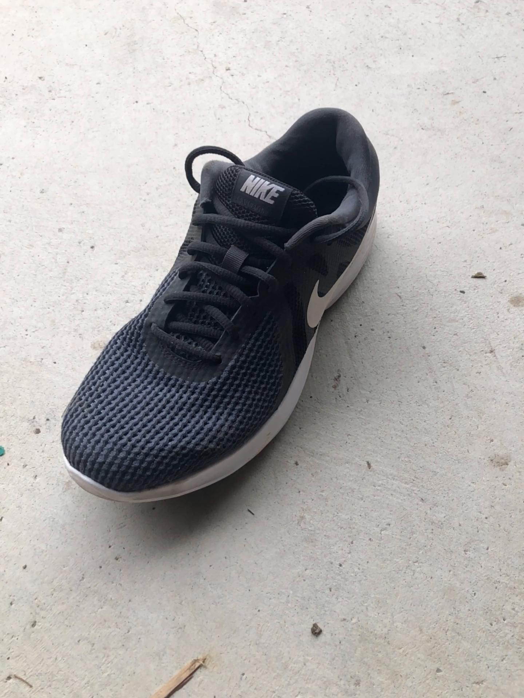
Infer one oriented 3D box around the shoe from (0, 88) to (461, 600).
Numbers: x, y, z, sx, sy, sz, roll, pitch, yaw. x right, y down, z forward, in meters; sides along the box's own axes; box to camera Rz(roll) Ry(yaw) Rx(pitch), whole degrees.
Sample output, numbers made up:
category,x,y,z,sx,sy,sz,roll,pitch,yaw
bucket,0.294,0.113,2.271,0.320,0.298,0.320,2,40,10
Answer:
category,x,y,z,sx,sy,sz,roll,pitch,yaw
shoe,-0.006,-0.018,0.365,0.130,0.100,0.291,29,64,14
